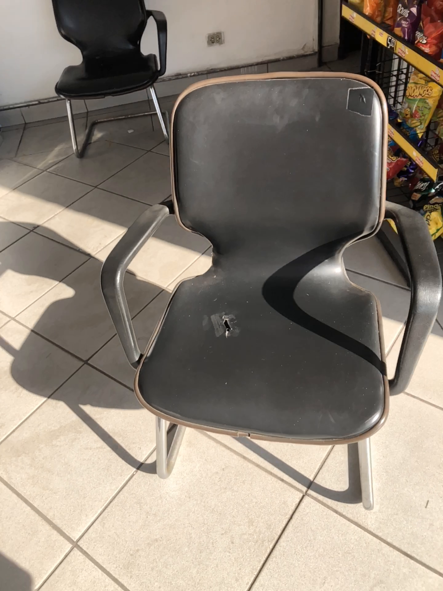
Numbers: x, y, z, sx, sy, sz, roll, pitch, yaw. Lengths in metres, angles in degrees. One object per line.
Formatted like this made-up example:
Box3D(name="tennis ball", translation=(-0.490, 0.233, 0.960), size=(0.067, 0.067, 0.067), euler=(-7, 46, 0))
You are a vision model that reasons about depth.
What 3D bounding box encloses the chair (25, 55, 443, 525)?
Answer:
Box3D(name="chair", translation=(0.113, 0.006, 1.106), size=(0.580, 0.824, 0.584), euler=(3, 44, 14))
